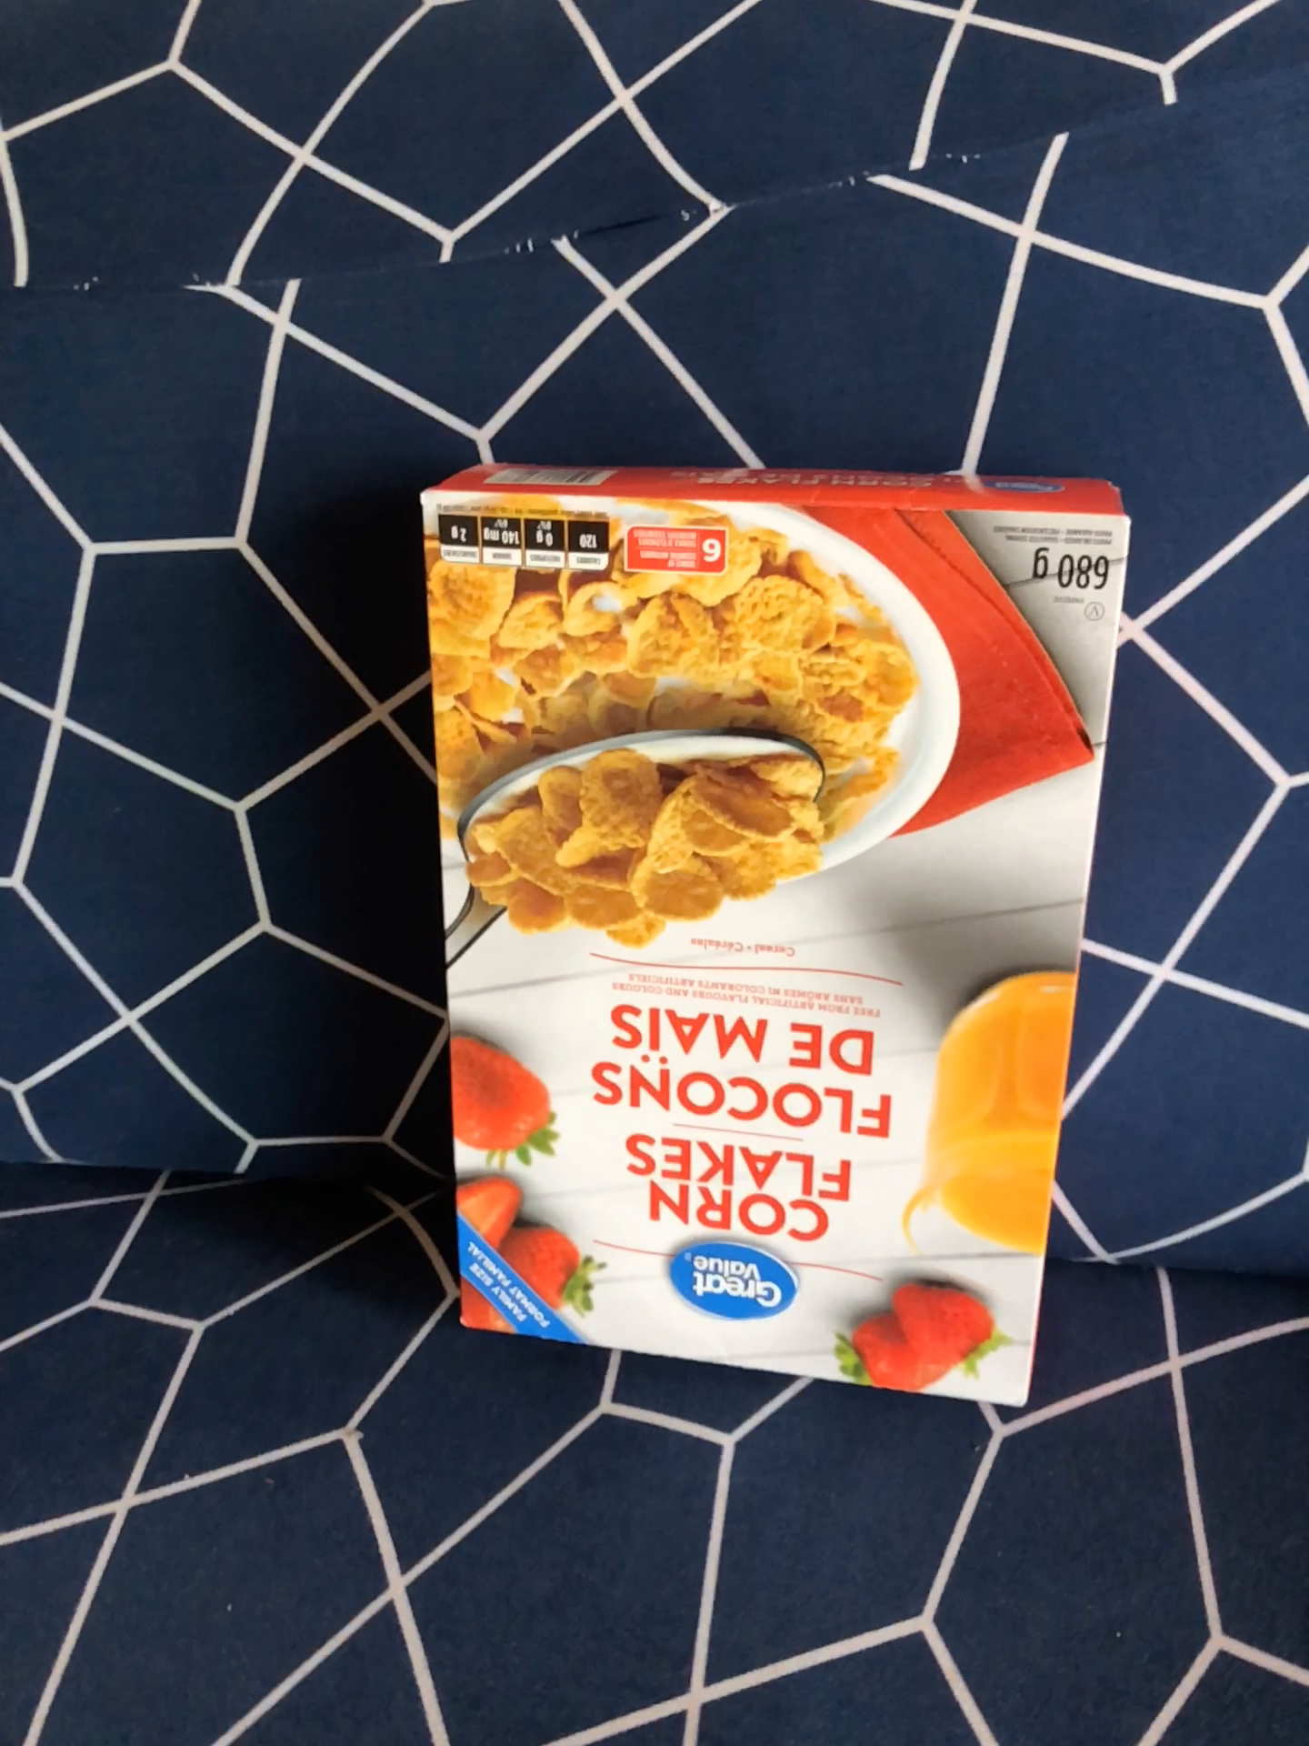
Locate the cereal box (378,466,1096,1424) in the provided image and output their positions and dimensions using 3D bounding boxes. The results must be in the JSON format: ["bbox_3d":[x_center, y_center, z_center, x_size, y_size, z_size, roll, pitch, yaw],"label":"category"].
[{"bbox_3d":[0.030,0.020,0.532,0.220,0.319,0.100,5,19,13],"label":"cereal box"}]
